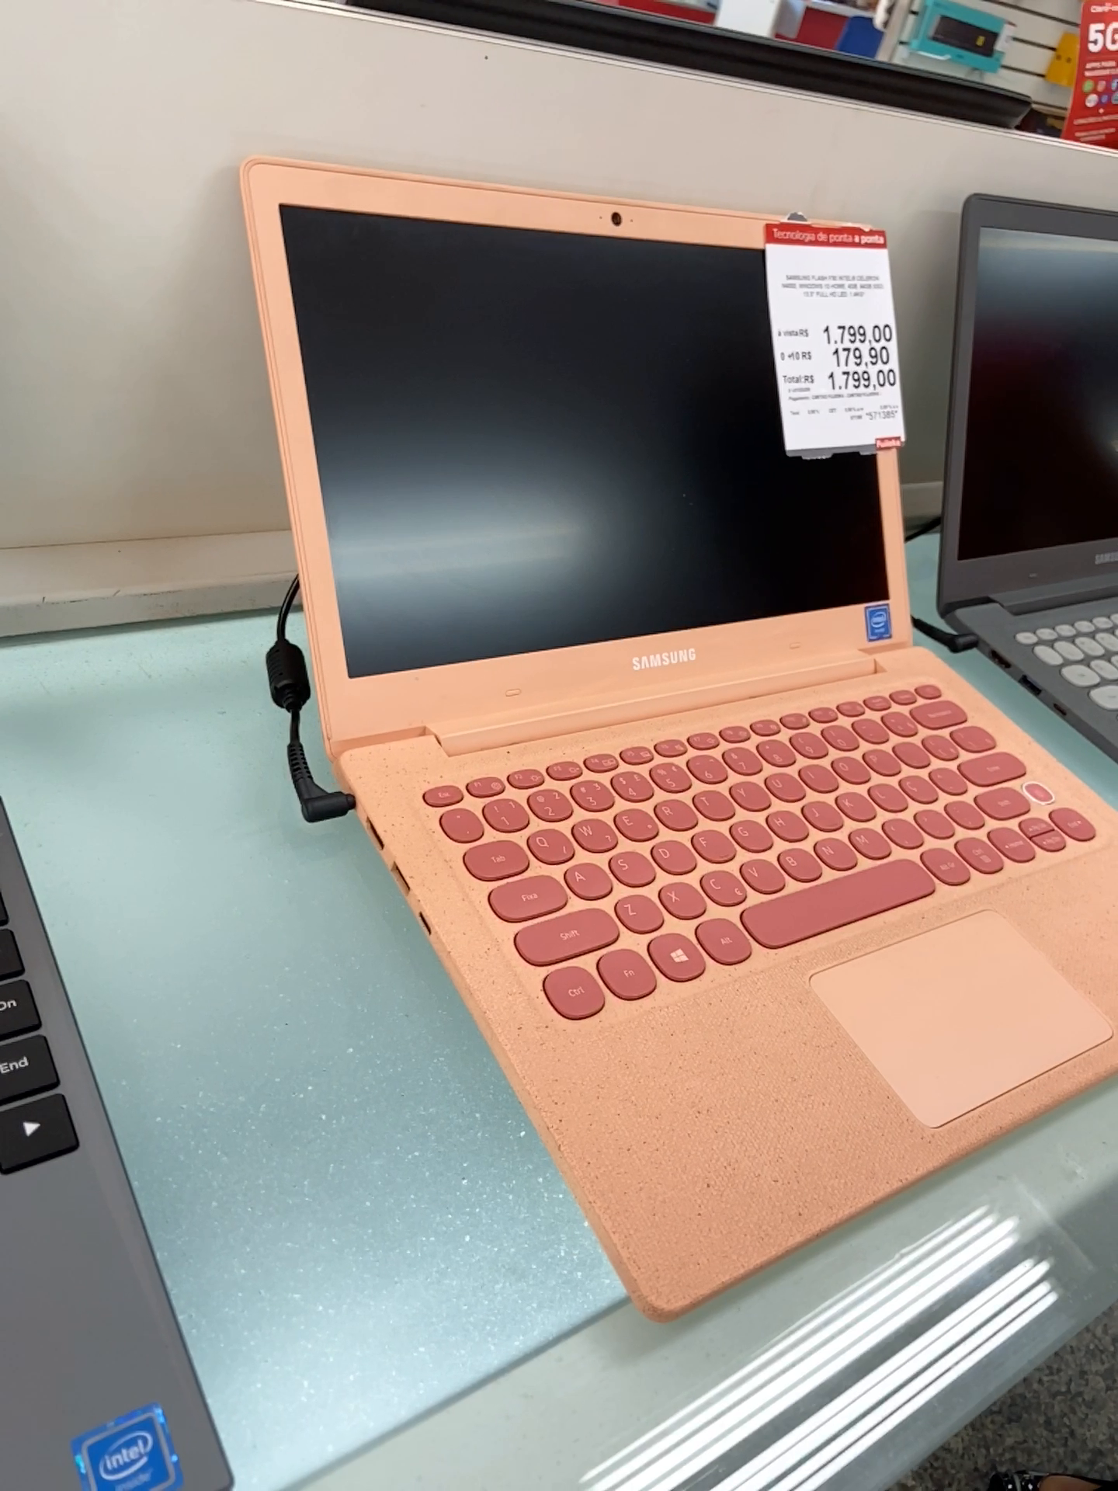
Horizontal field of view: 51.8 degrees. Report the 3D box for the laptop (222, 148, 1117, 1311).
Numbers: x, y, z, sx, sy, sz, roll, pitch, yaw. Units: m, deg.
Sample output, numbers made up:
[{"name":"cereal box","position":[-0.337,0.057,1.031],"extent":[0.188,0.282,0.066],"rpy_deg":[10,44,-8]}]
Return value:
[{"name":"laptop","position":[0.093,-0.062,0.441],"extent":[0.330,0.160,0.359],"rpy_deg":[-11,47,-32]}]
